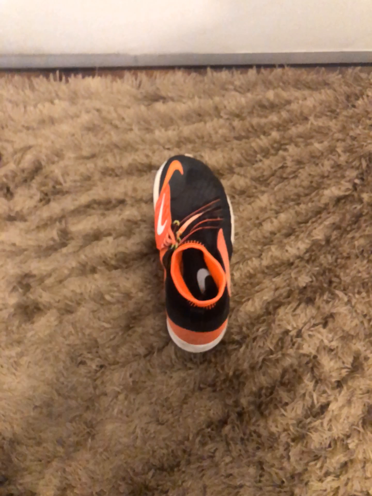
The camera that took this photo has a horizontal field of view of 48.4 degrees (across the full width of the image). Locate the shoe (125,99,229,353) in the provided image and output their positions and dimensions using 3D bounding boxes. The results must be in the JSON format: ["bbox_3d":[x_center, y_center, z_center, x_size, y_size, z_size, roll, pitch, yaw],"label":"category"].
[{"bbox_3d":[-0.010,-0.020,0.545,0.110,0.140,0.303,1,74,-2],"label":"shoe"}]
